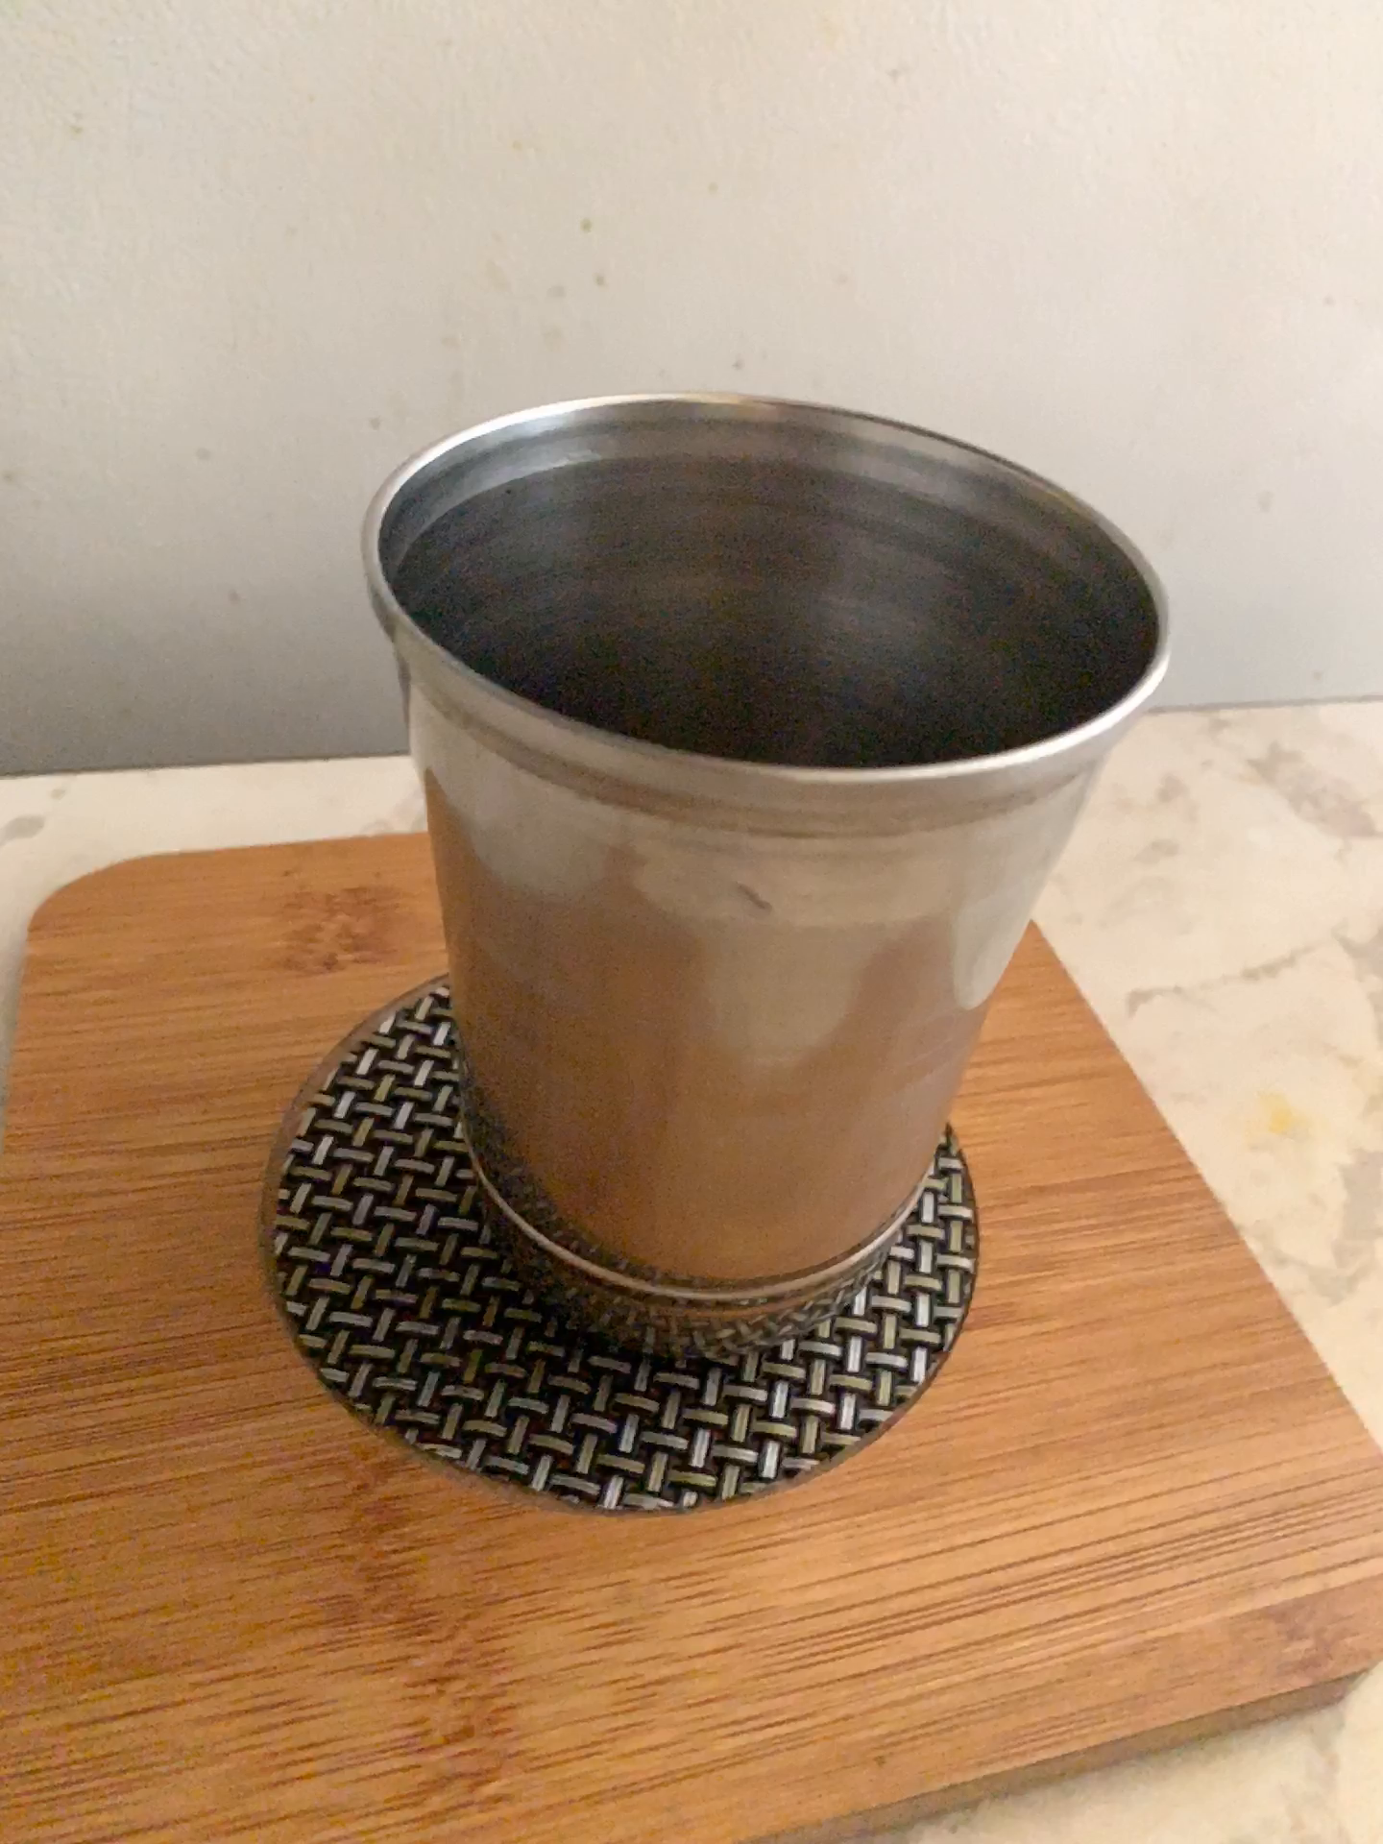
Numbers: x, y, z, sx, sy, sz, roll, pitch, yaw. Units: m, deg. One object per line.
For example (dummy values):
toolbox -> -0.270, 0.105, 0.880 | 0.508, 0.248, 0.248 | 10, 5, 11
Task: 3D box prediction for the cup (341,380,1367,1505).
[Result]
cup -> 0.005, 0.001, 0.157 | 0.072, 0.091, 0.071 | 3, 41, -3
